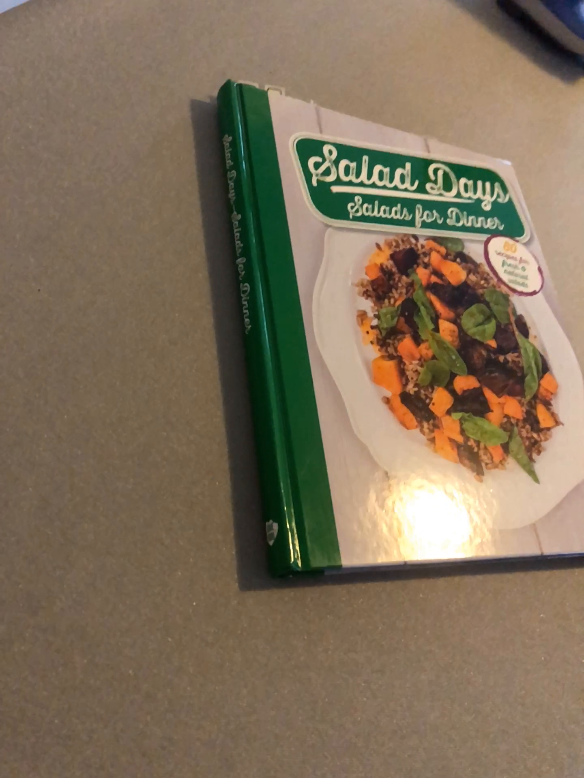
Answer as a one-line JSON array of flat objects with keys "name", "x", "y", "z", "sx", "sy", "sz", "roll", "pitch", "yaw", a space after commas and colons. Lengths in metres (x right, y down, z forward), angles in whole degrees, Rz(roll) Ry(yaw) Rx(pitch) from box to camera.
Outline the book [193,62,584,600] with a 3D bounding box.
[{"name": "book", "x": 0.064, "y": -0.040, "z": 0.347, "sx": 0.214, "sy": 0.020, "sz": 0.275, "roll": 4, "pitch": 62, "yaw": -27}]
